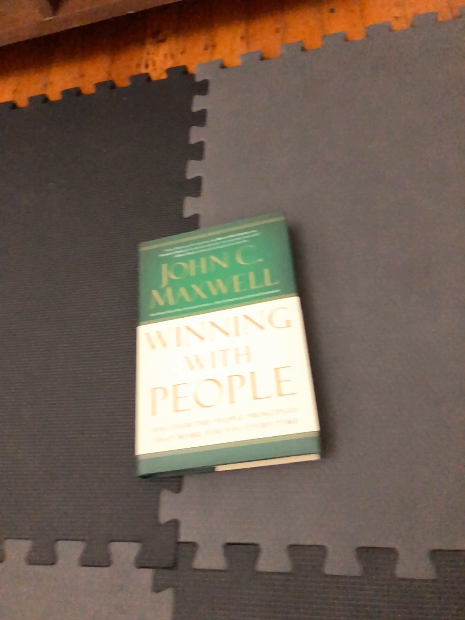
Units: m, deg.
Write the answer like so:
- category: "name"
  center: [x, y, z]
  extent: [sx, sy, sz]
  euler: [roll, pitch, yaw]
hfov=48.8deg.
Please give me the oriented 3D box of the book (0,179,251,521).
- category: "book"
  center: [-0.091, 0.026, 0.459]
  extent: [0.200, 0.030, 0.291]
  euler: [-8, 63, 13]
